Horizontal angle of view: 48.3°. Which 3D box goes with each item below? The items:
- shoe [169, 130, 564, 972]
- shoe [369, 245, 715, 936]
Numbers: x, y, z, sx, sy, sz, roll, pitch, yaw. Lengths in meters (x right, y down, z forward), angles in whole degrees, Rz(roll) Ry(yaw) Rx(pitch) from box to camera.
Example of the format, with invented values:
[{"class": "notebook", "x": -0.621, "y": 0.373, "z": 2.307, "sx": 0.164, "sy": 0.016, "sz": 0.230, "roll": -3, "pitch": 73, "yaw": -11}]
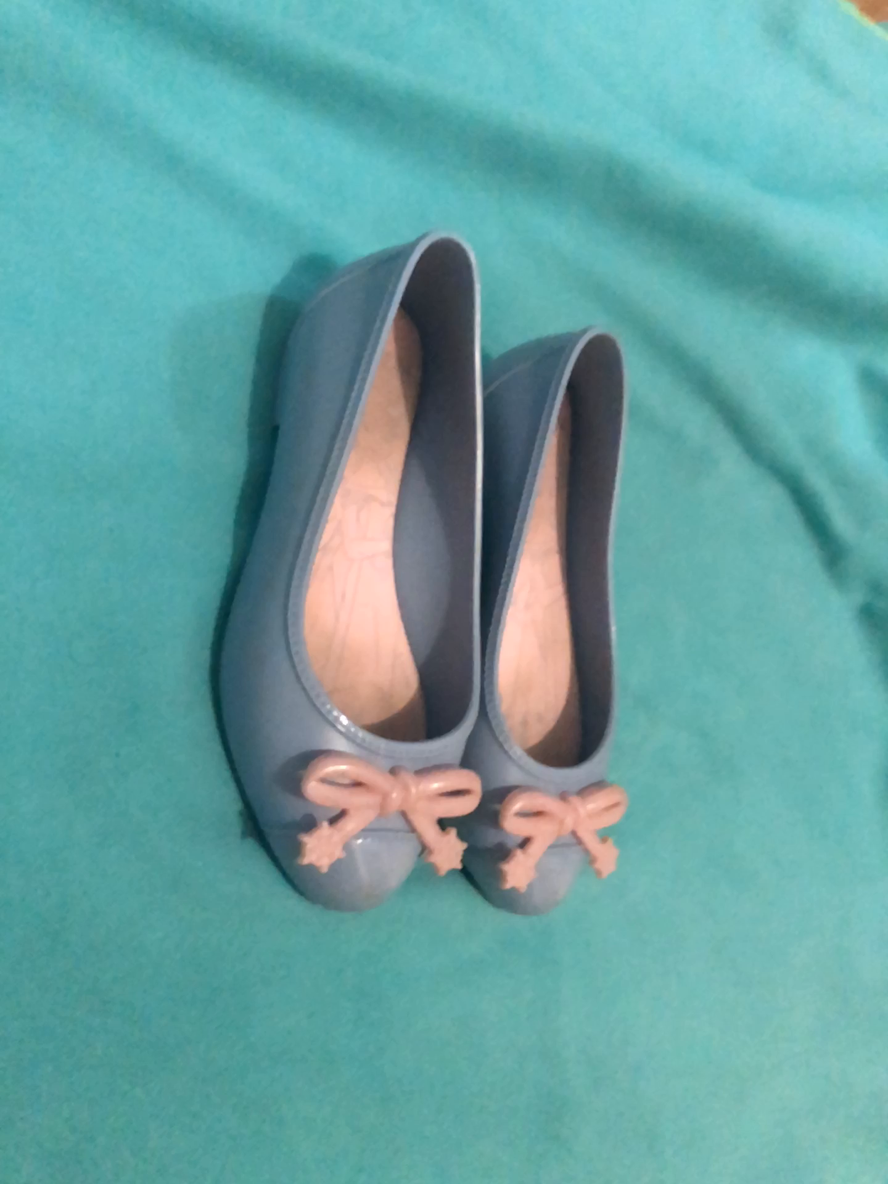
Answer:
[{"class": "shoe", "x": -0.023, "y": -0.008, "z": 0.268, "sx": 0.080, "sy": 0.060, "sz": 0.190, "roll": 5, "pitch": 78, "yaw": -40}, {"class": "shoe", "x": 0.029, "y": 0.001, "z": 0.317, "sx": 0.080, "sy": 0.060, "sz": 0.190, "roll": 5, "pitch": 78, "yaw": -40}]
